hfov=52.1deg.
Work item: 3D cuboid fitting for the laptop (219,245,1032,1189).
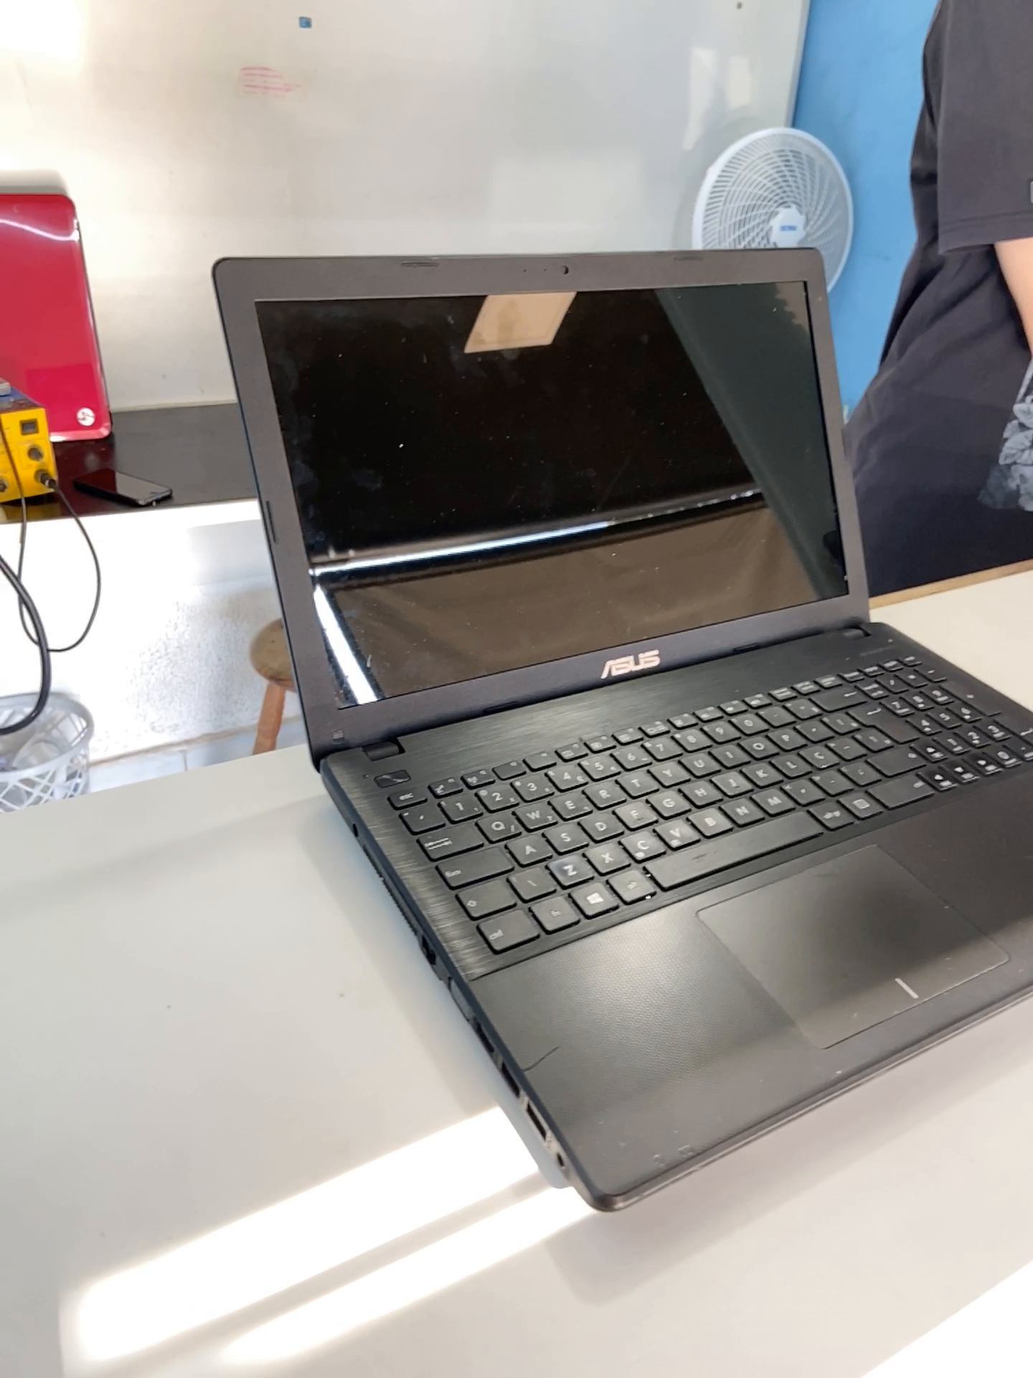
[{"bbox_3d":[0.105,-0.060,0.487,0.368,0.201,0.362,-13,35,-26],"label":"laptop"}]
